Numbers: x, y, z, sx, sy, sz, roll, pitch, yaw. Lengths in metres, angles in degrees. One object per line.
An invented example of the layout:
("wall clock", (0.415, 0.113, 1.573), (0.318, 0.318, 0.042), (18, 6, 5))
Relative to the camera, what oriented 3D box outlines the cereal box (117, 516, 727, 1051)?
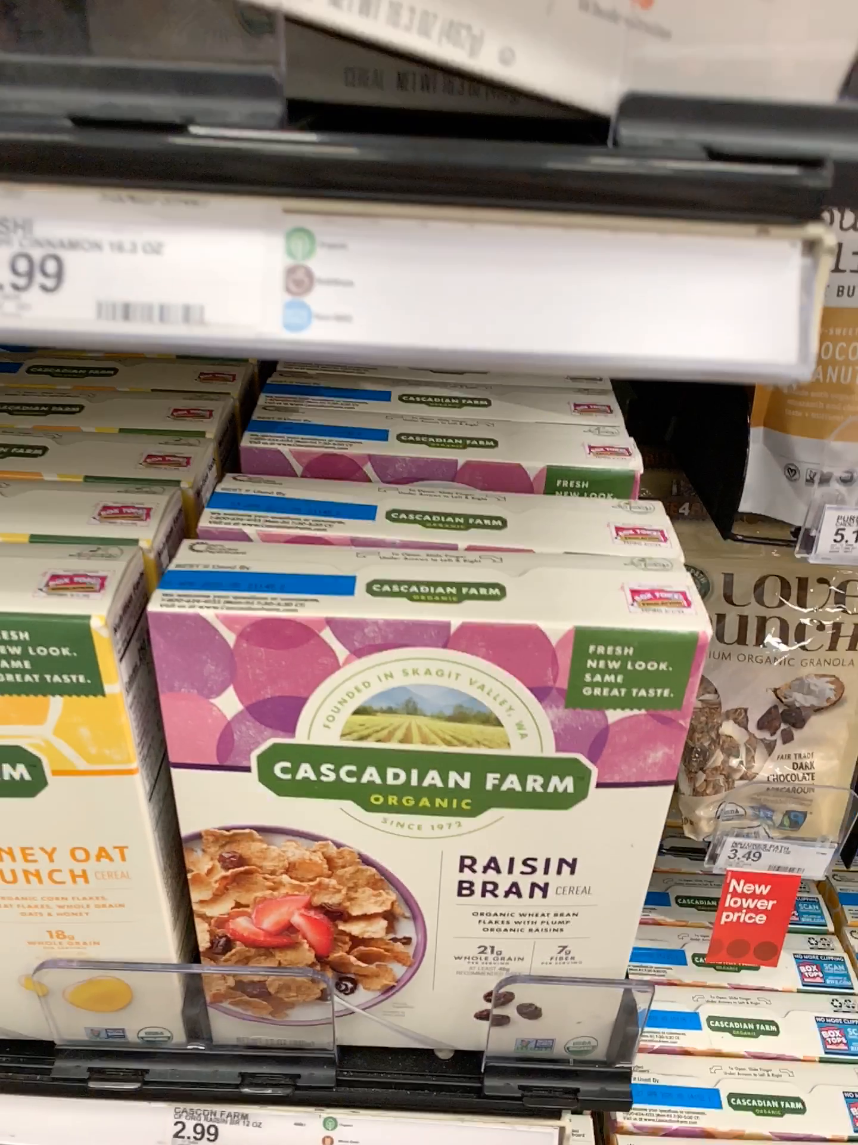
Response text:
("cereal box", (-0.008, 0.109, 0.384), (0.200, 0.269, 0.050), (3, 34, -1))
